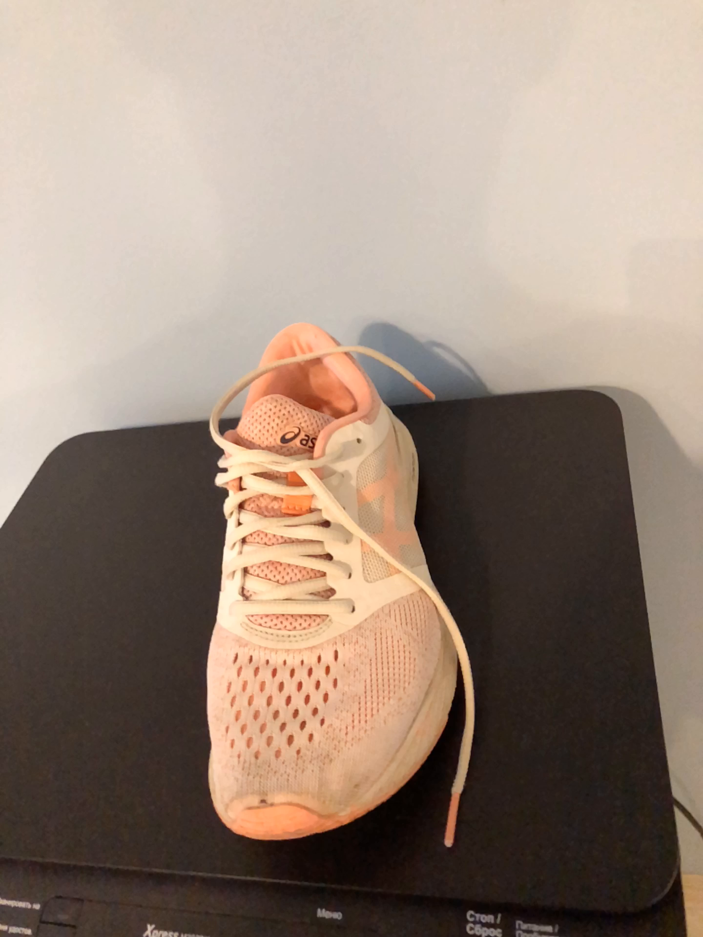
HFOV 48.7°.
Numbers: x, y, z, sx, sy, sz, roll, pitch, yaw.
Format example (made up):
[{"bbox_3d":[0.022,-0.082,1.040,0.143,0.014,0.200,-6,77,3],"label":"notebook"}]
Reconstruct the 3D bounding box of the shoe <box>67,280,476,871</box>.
[{"bbox_3d":[-0.009,0.028,0.351,0.116,0.089,0.255,-6,42,14],"label":"shoe"}]
